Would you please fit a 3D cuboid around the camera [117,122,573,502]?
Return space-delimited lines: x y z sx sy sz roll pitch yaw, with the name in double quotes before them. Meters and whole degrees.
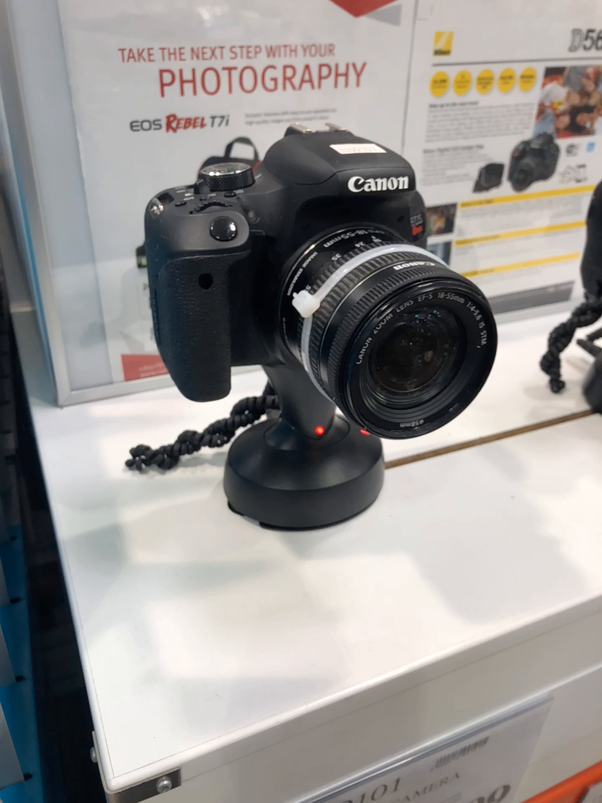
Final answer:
"camera" 0.005 -0.055 0.300 0.130 0.100 0.151 -12 35 -22
